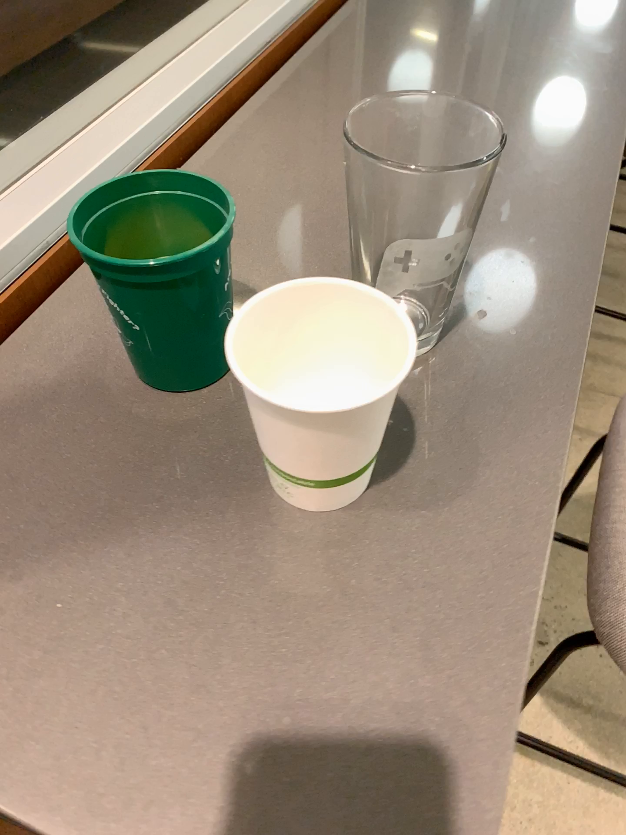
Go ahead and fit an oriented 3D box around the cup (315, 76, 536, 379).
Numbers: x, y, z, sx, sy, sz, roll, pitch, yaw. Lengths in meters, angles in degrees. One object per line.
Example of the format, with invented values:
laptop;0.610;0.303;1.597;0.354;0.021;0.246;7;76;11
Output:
cup;0.057;-0.111;0.393;0.090;0.139;0.090;-1;50;1

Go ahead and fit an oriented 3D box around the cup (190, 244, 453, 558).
cup;0.002;-0.007;0.333;0.090;0.109;0.090;-1;50;1

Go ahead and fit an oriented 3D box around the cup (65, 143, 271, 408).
cup;-0.085;-0.085;0.392;0.090;0.109;0.090;-1;50;1
